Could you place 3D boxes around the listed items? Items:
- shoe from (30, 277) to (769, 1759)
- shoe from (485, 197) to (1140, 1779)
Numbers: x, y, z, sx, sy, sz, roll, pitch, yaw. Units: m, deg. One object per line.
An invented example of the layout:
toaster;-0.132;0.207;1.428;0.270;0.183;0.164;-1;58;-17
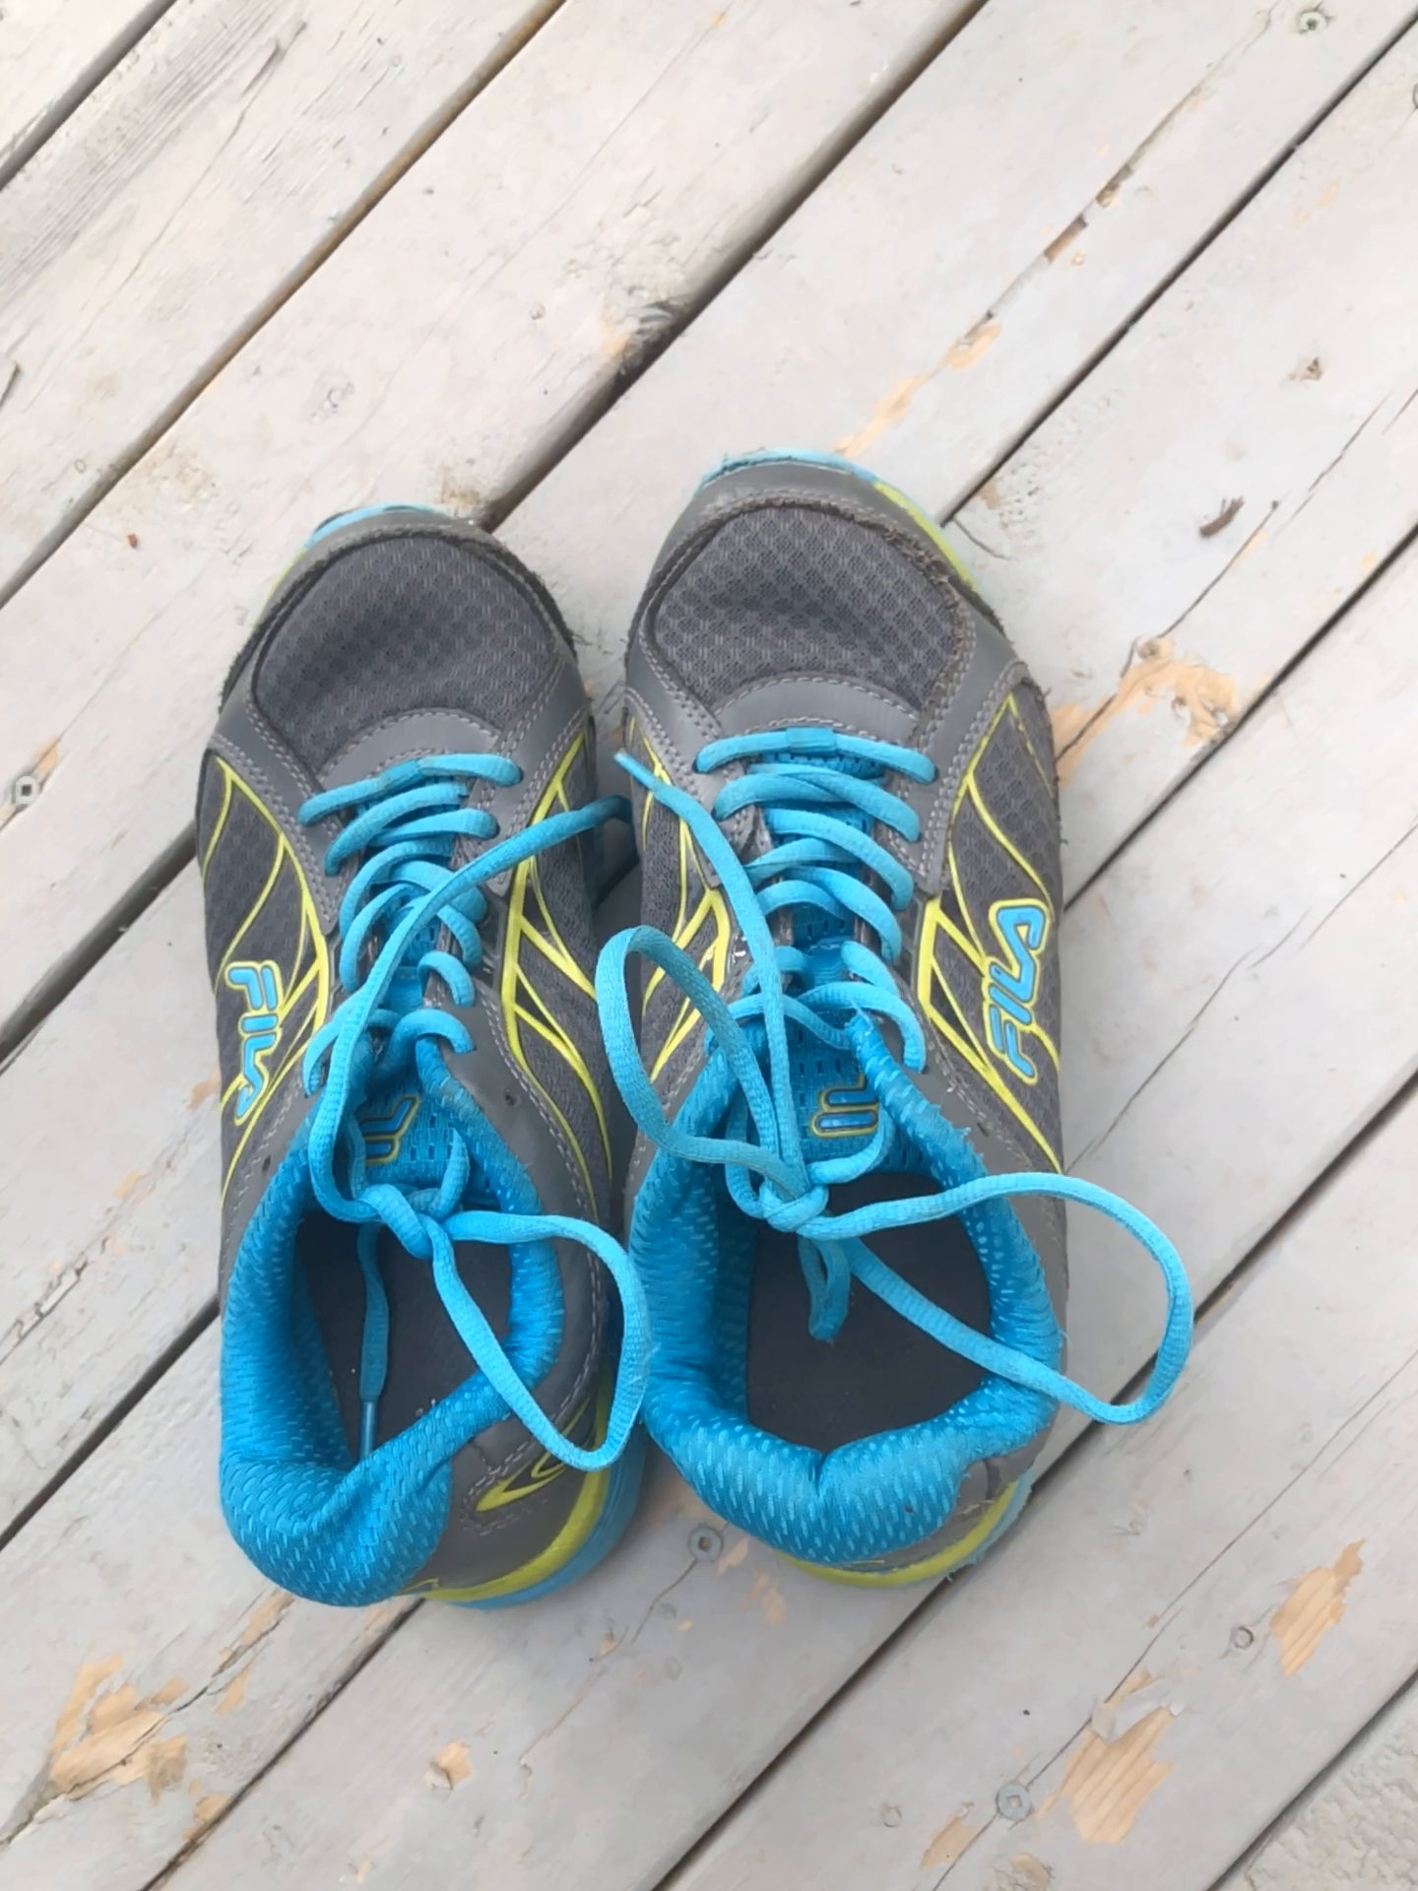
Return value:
shoe;-0.067;0.018;0.383;0.110;0.130;0.290;-8;83;11
shoe;0.023;0.007;0.332;0.110;0.090;0.280;-3;83;12
